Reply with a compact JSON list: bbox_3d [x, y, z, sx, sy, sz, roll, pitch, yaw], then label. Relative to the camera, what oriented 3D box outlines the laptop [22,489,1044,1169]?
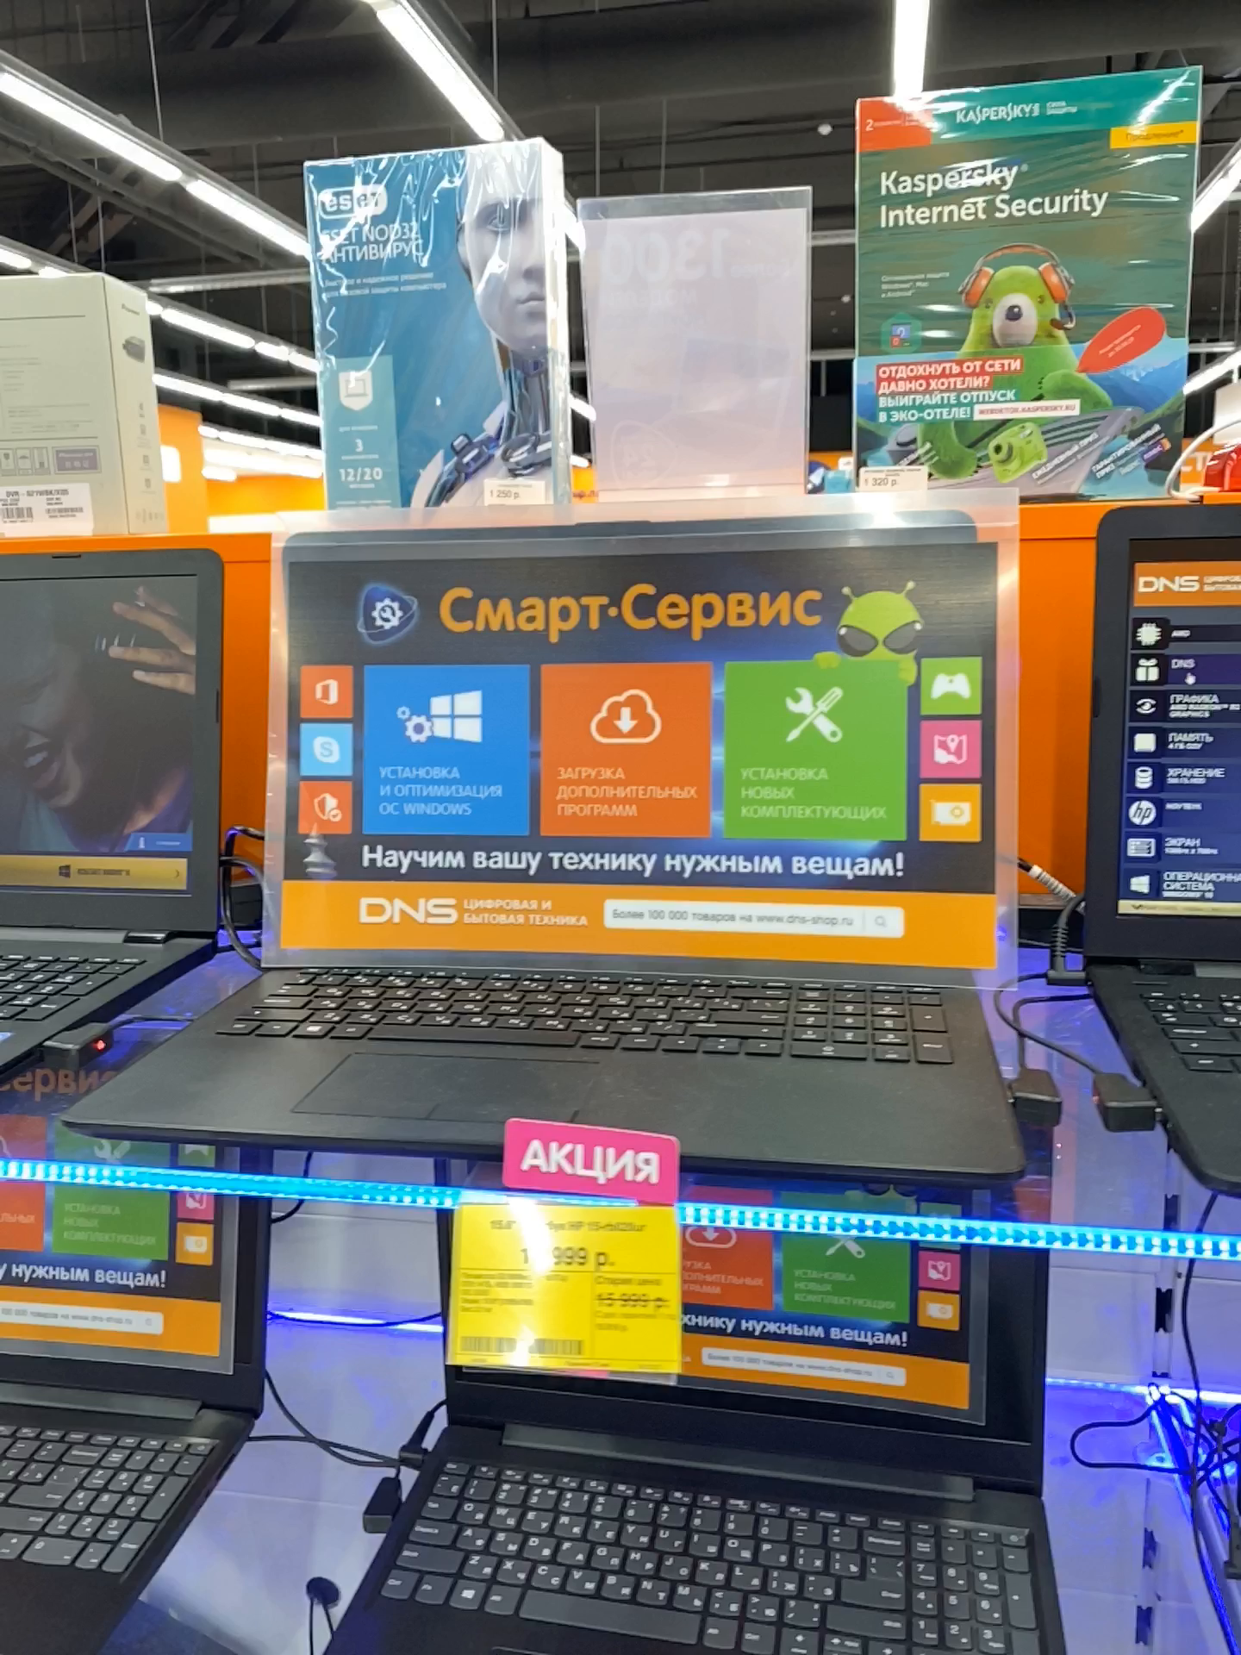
[{"bbox_3d":[-0.019,-0.022,0.597,0.377,0.235,0.262,0,11,12],"label":"laptop"}]
